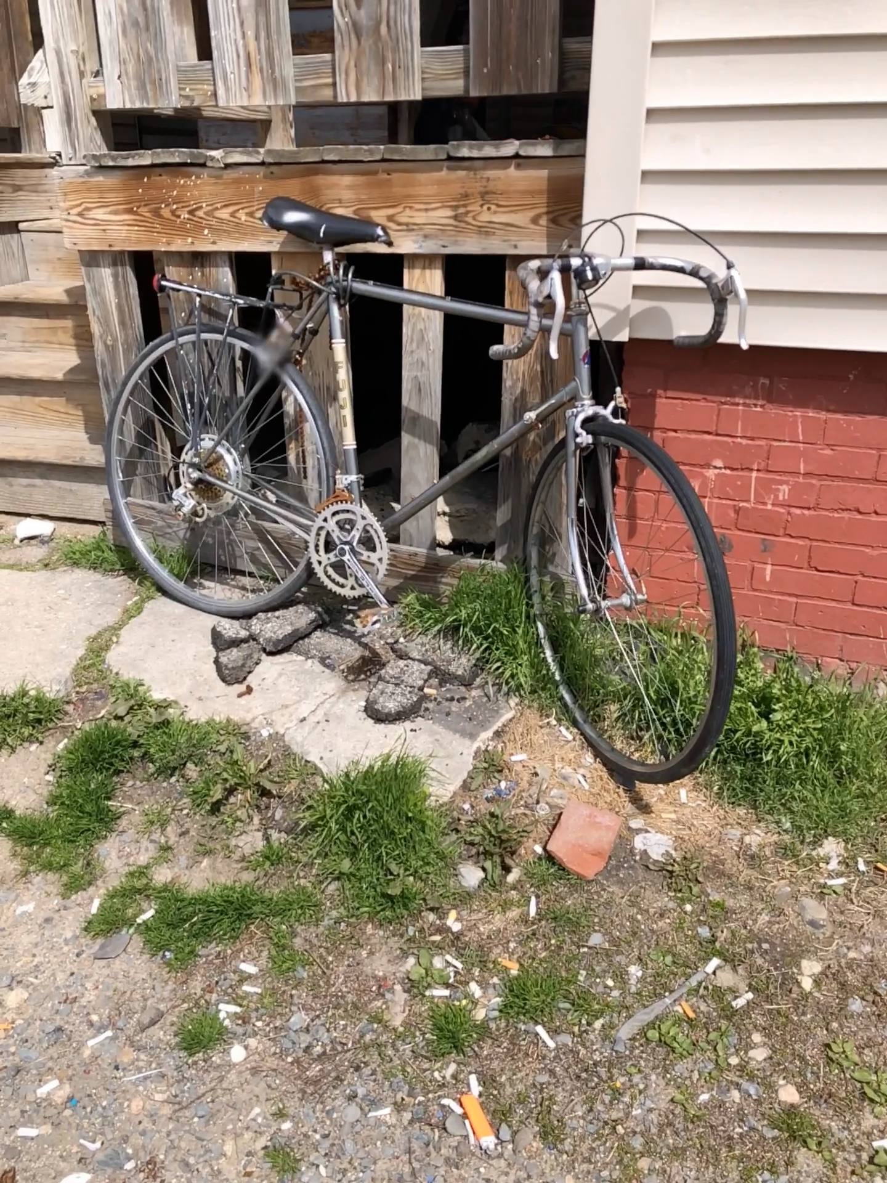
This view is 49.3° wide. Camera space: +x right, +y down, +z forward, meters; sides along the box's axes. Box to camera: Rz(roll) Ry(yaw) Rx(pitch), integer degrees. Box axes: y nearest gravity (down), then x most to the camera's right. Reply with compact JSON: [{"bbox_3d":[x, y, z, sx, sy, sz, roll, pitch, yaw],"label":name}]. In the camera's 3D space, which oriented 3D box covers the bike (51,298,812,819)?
[{"bbox_3d":[-0.084,-0.161,1.560,1.202,0.479,0.400,16,27,32],"label":"bike"}]
